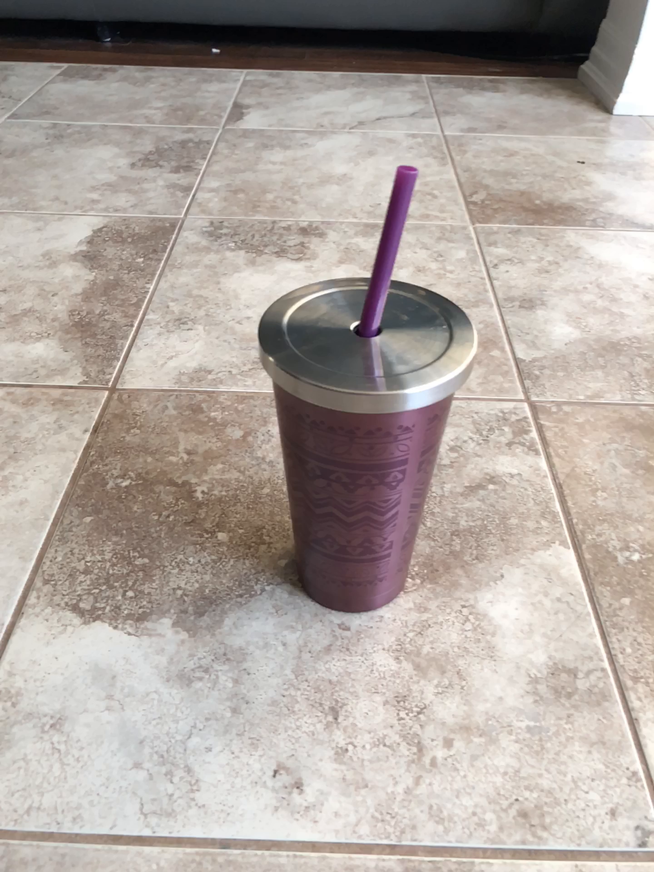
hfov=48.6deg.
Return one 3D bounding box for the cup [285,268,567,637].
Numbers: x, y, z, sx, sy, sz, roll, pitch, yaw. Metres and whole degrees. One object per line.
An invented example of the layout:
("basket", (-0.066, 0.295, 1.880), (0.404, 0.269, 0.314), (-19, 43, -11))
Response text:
("cup", (0.038, 0.010, 0.390), (0.111, 0.165, 0.103), (1, 39, -1))
